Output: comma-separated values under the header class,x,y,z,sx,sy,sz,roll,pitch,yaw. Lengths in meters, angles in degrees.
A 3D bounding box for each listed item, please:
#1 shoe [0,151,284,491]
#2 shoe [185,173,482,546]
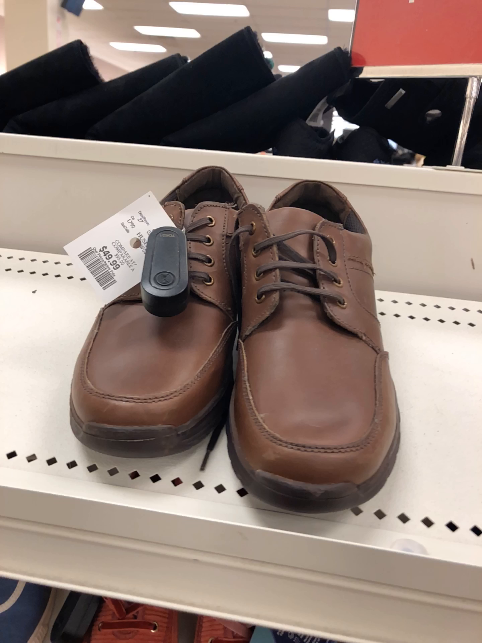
class,x,y,z,sx,sy,sz,roll,pitch,yaw
shoe,-0.045,-0.043,0.389,0.120,0.109,0.332,6,25,6
shoe,0.055,-0.023,0.371,0.120,0.109,0.342,6,22,4
